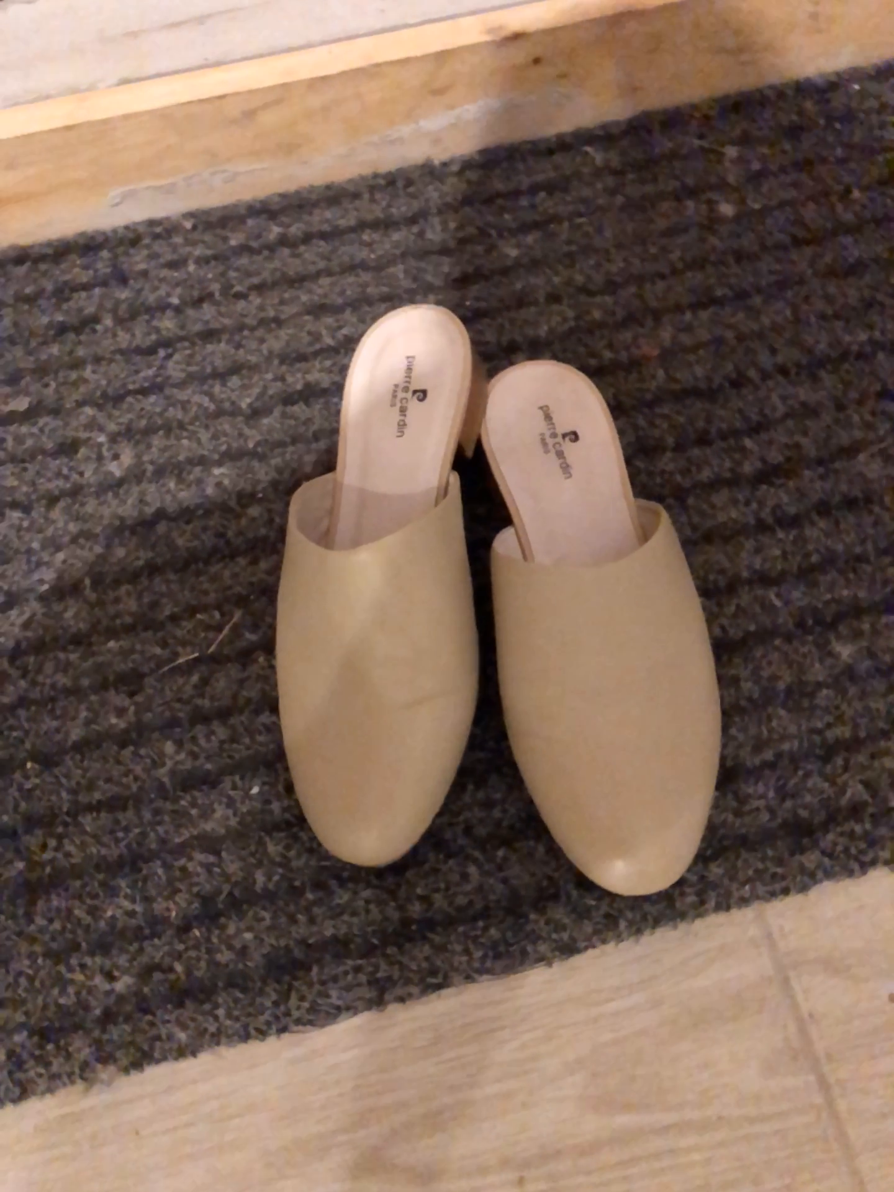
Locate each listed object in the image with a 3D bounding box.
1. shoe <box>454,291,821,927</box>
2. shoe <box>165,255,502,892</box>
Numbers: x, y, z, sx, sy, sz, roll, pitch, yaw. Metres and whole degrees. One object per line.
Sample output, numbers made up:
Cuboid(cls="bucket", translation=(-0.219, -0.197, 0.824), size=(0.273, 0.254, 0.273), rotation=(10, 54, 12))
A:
Cuboid(cls="shoe", translation=(0.065, -0.003, 0.410), size=(0.090, 0.070, 0.251), rotation=(-8, 63, 0))
Cuboid(cls="shoe", translation=(-0.032, -0.018, 0.399), size=(0.090, 0.070, 0.251), rotation=(4, 63, 5))
